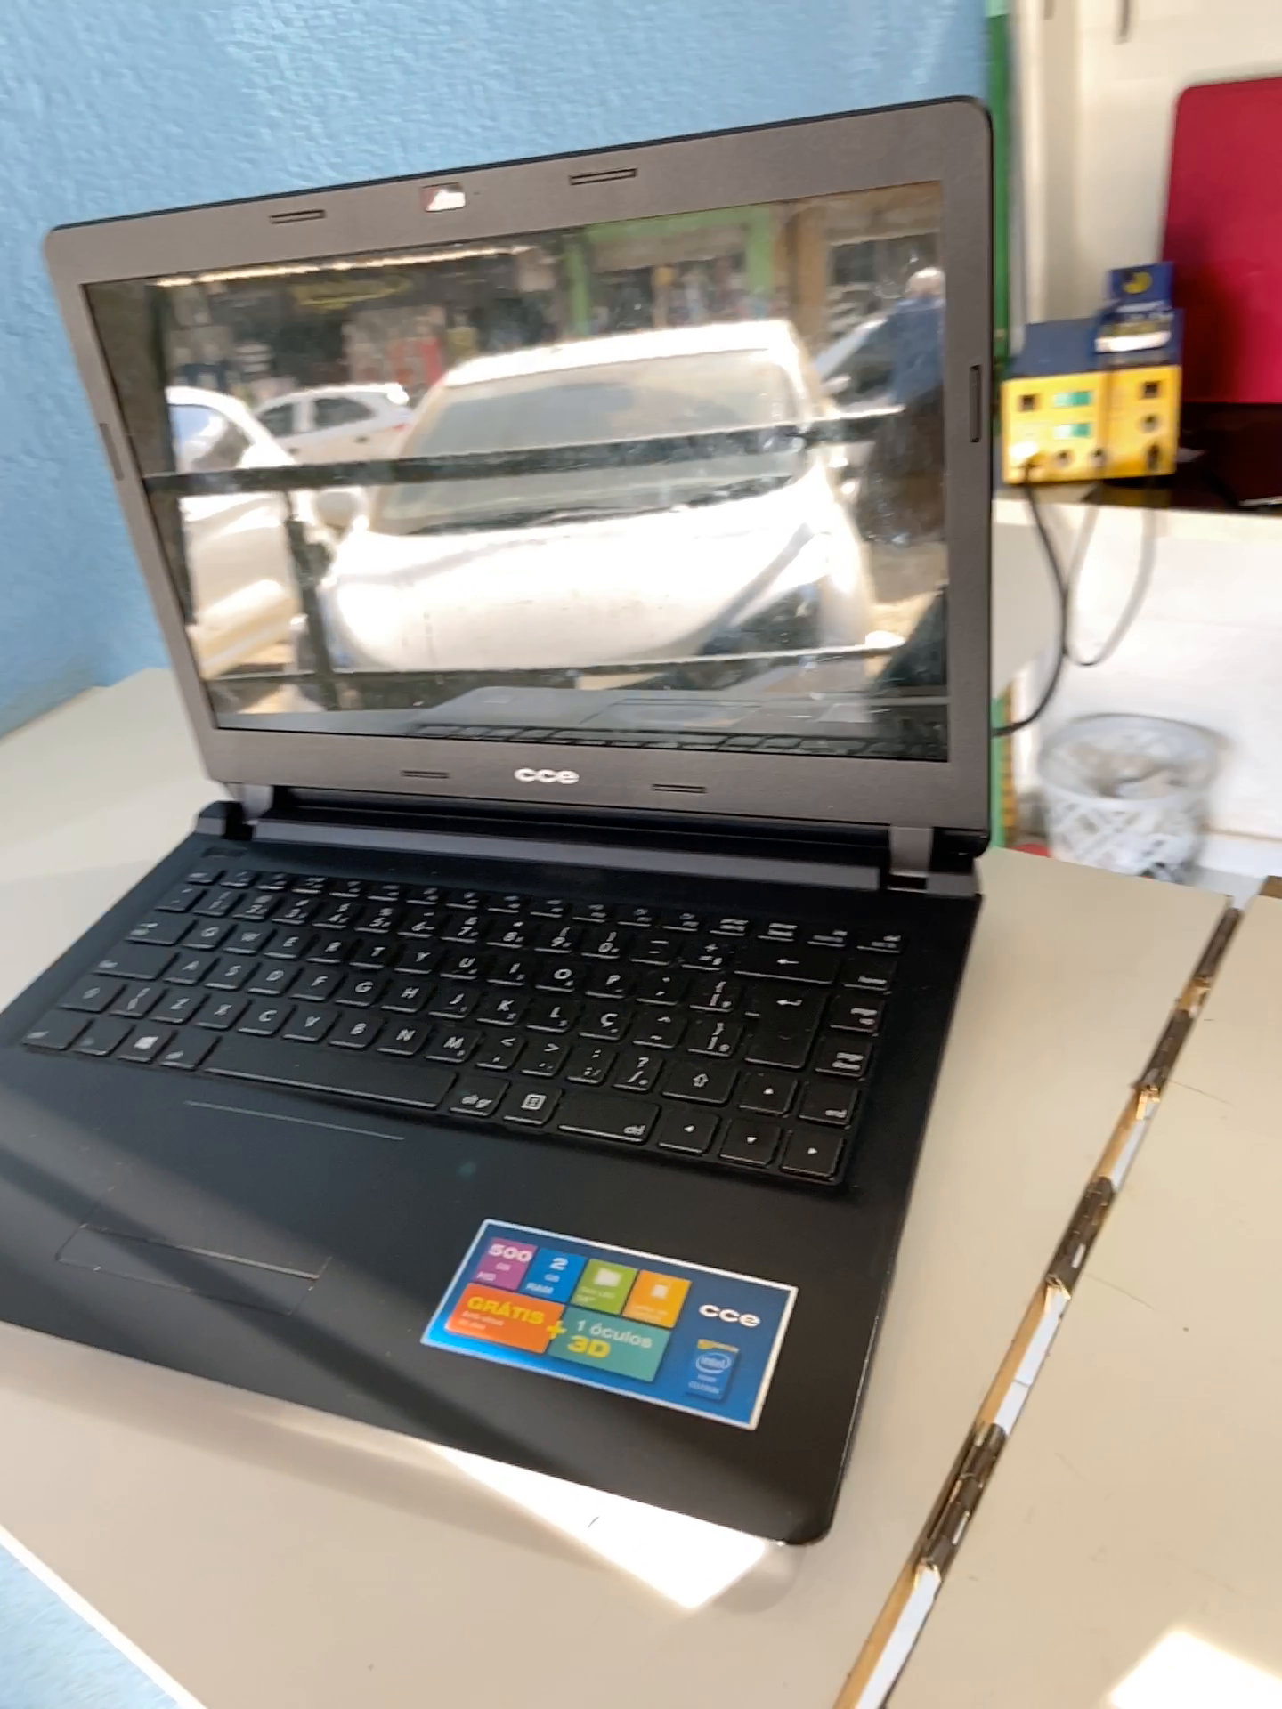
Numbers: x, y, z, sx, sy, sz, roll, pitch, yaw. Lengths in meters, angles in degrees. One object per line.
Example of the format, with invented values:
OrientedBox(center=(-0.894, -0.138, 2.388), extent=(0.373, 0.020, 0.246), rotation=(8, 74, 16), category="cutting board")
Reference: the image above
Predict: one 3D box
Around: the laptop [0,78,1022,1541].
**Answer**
OrientedBox(center=(-0.083, -0.041, 0.371), extent=(0.324, 0.216, 0.268), rotation=(4, 37, 24), category="laptop")
